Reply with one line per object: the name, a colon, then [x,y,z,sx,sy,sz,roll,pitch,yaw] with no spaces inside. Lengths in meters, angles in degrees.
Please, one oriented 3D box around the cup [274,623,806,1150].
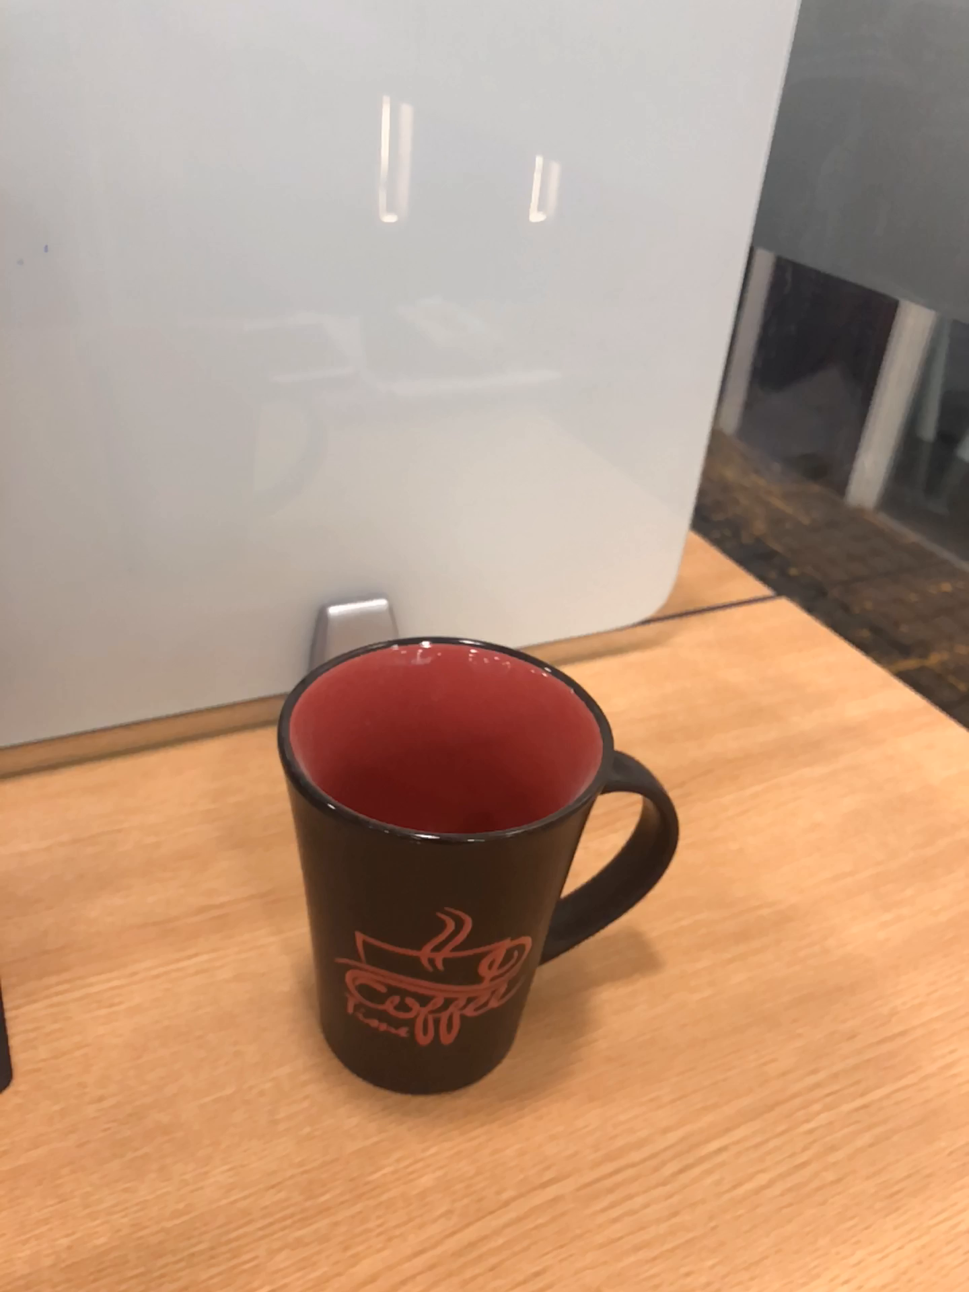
cup: [0.005,0.063,0.312,0.120,0.100,0.090,-4,33,-15]
